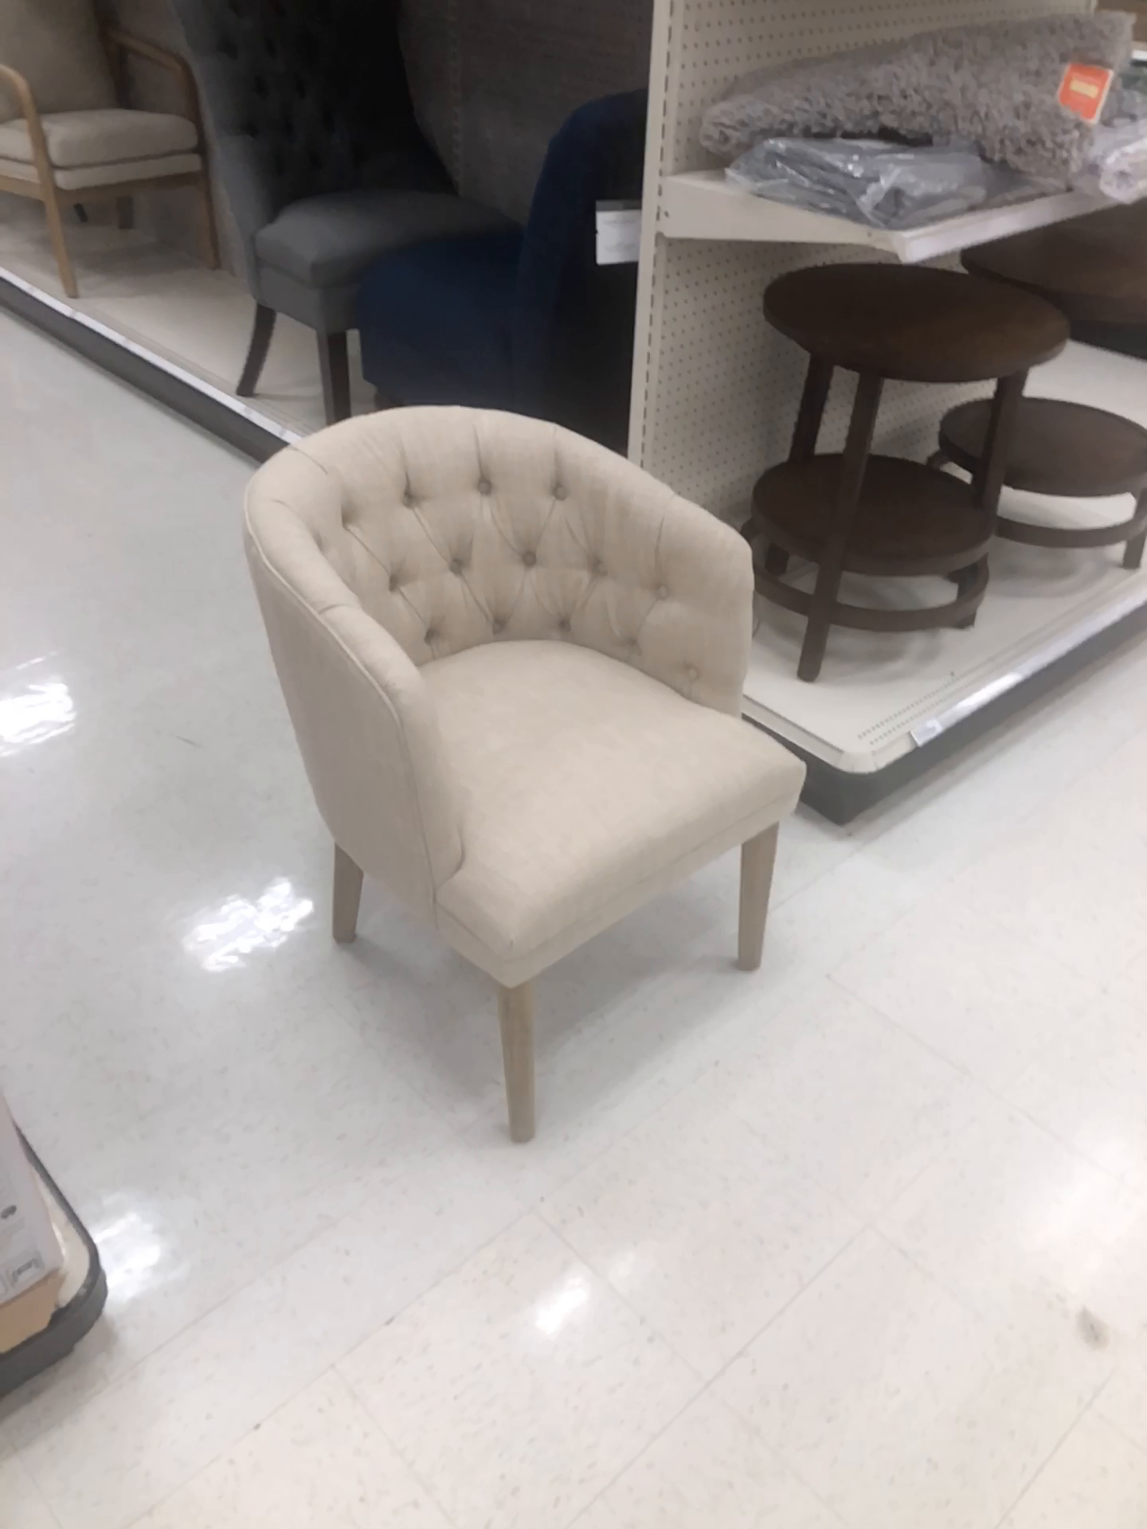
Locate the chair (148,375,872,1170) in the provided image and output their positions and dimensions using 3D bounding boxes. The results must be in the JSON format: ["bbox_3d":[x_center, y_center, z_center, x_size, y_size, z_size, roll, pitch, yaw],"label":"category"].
[{"bbox_3d":[-0.095,-0.035,1.717,0.562,0.700,0.683,-30,47,-35],"label":"chair"}]
